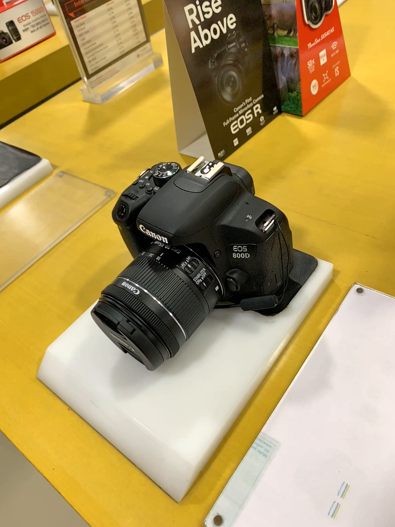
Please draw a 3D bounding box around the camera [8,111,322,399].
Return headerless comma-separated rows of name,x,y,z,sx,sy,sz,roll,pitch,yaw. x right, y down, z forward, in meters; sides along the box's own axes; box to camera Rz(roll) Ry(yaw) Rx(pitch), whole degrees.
camera,-0.014,-0.018,0.273,0.140,0.090,0.130,24,58,33
